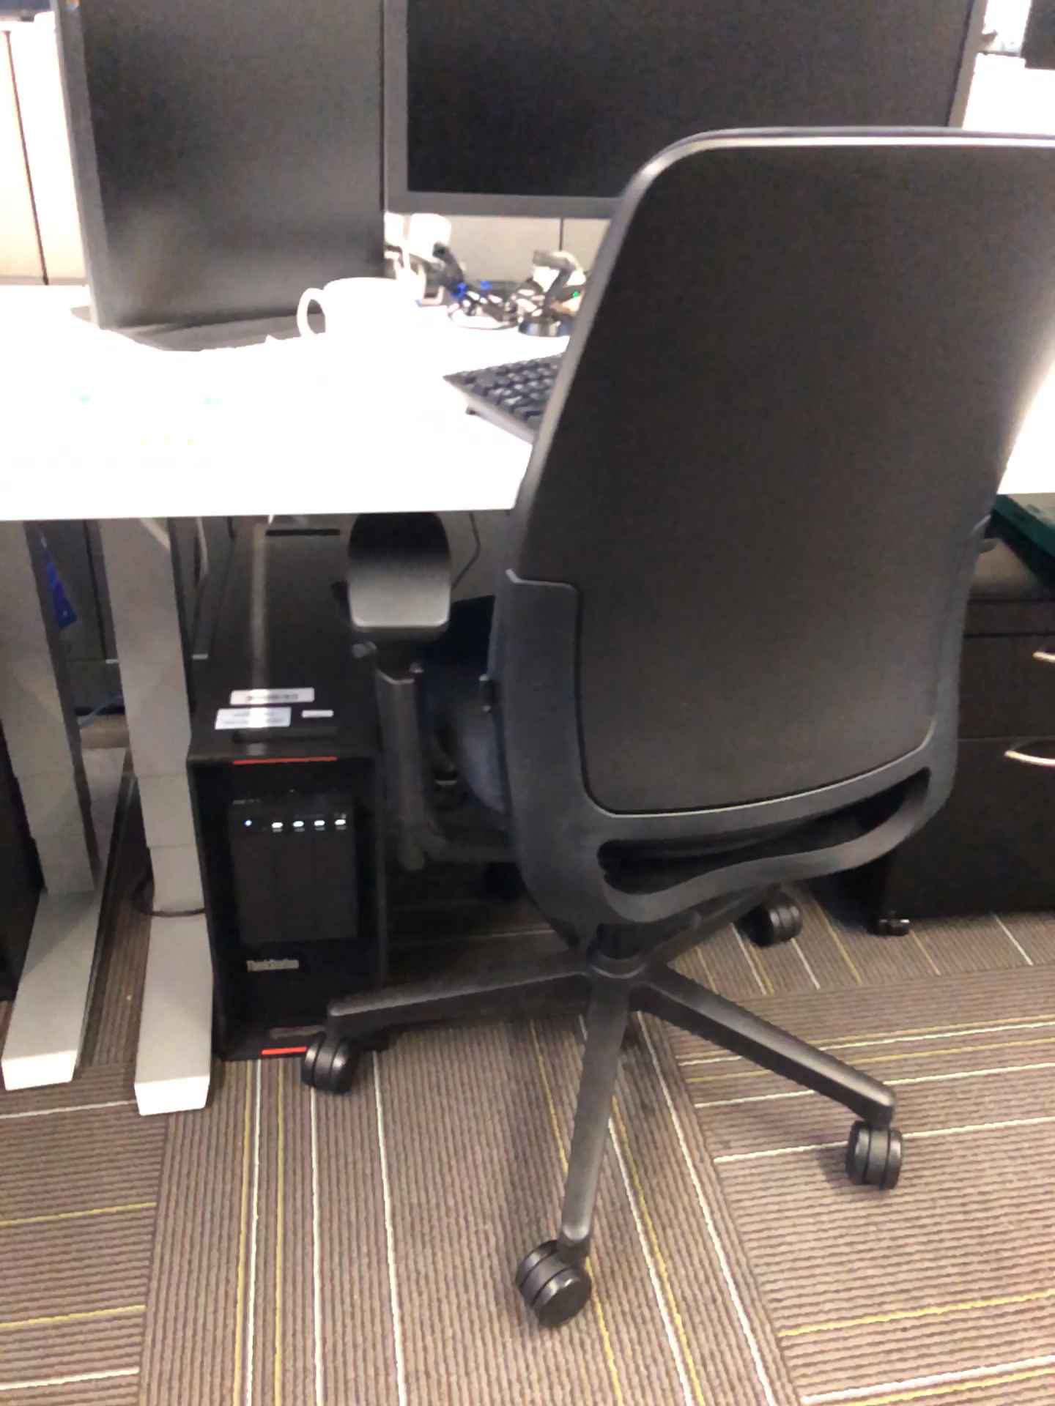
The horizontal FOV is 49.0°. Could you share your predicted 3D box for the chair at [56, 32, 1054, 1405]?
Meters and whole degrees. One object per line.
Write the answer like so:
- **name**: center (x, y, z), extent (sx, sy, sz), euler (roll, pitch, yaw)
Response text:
- **chair**: center (0.118, 0.001, 1.051), extent (0.780, 1.014, 0.664), euler (-3, 31, -10)
